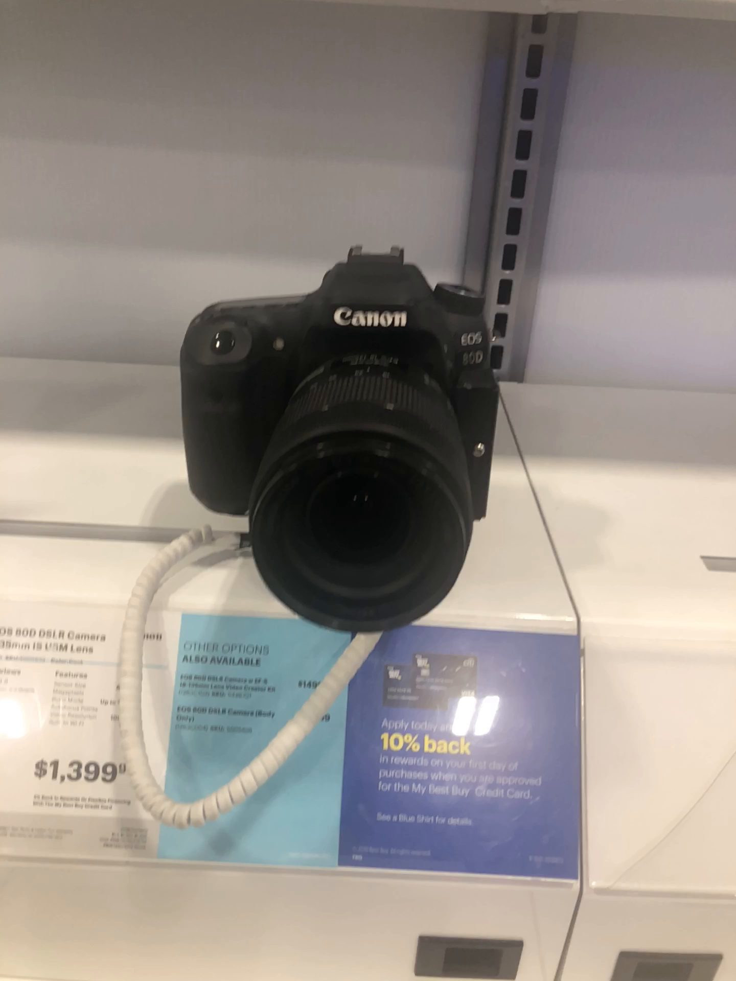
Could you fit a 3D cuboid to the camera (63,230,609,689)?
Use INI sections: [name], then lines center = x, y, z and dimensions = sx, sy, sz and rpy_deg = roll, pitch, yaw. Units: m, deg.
[camera]
center = -0.010, -0.027, 0.329
dimensions = 0.150, 0.110, 0.181
rpy_deg = 3, 28, -1
